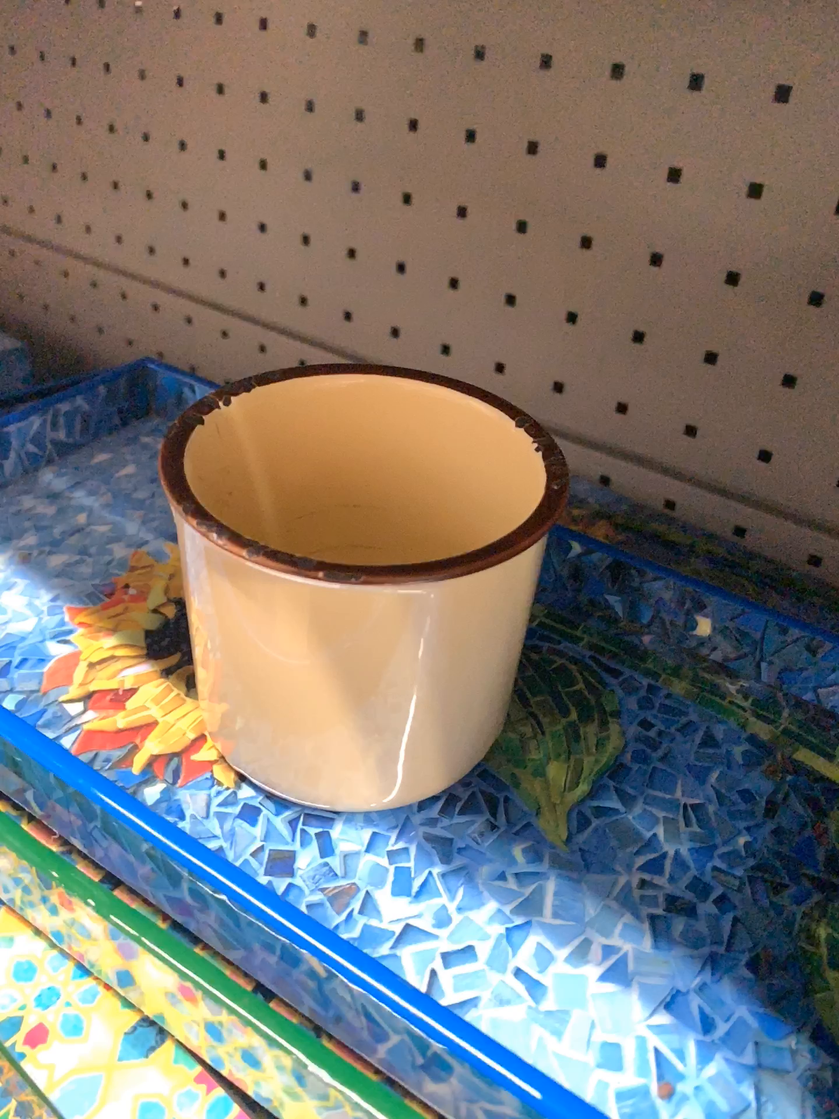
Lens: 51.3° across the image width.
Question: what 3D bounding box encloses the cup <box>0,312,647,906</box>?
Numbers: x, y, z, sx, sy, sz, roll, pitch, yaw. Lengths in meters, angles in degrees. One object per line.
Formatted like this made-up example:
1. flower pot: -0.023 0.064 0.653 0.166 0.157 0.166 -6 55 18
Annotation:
1. cup: -0.023 -0.001 0.209 0.110 0.070 0.090 27 39 27
